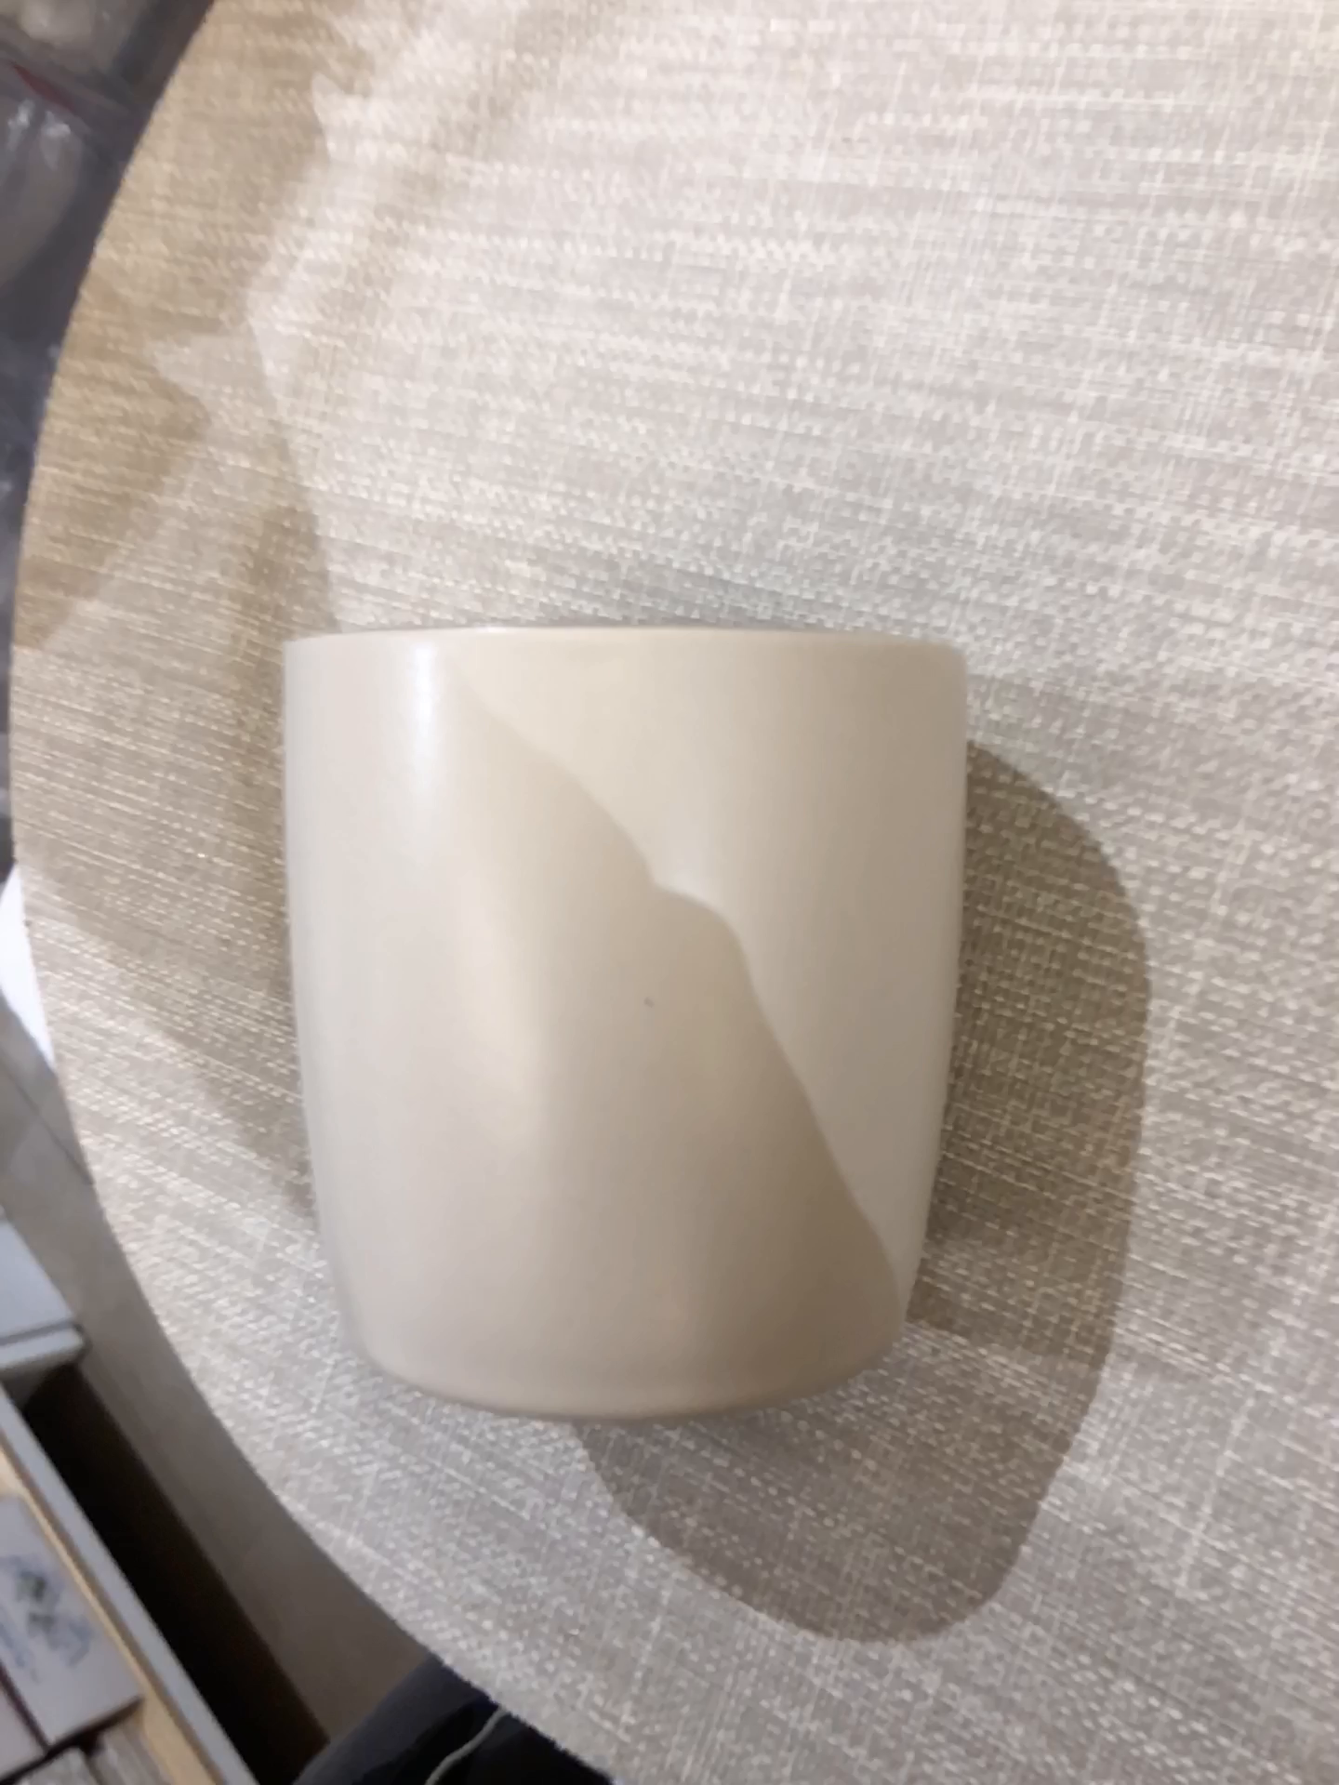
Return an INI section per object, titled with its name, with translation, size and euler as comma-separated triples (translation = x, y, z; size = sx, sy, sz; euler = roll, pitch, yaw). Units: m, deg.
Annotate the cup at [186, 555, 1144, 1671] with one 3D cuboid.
[cup]
translation = -0.010, 0.015, 0.182
size = 0.100, 0.080, 0.090
euler = -174, 83, -65
